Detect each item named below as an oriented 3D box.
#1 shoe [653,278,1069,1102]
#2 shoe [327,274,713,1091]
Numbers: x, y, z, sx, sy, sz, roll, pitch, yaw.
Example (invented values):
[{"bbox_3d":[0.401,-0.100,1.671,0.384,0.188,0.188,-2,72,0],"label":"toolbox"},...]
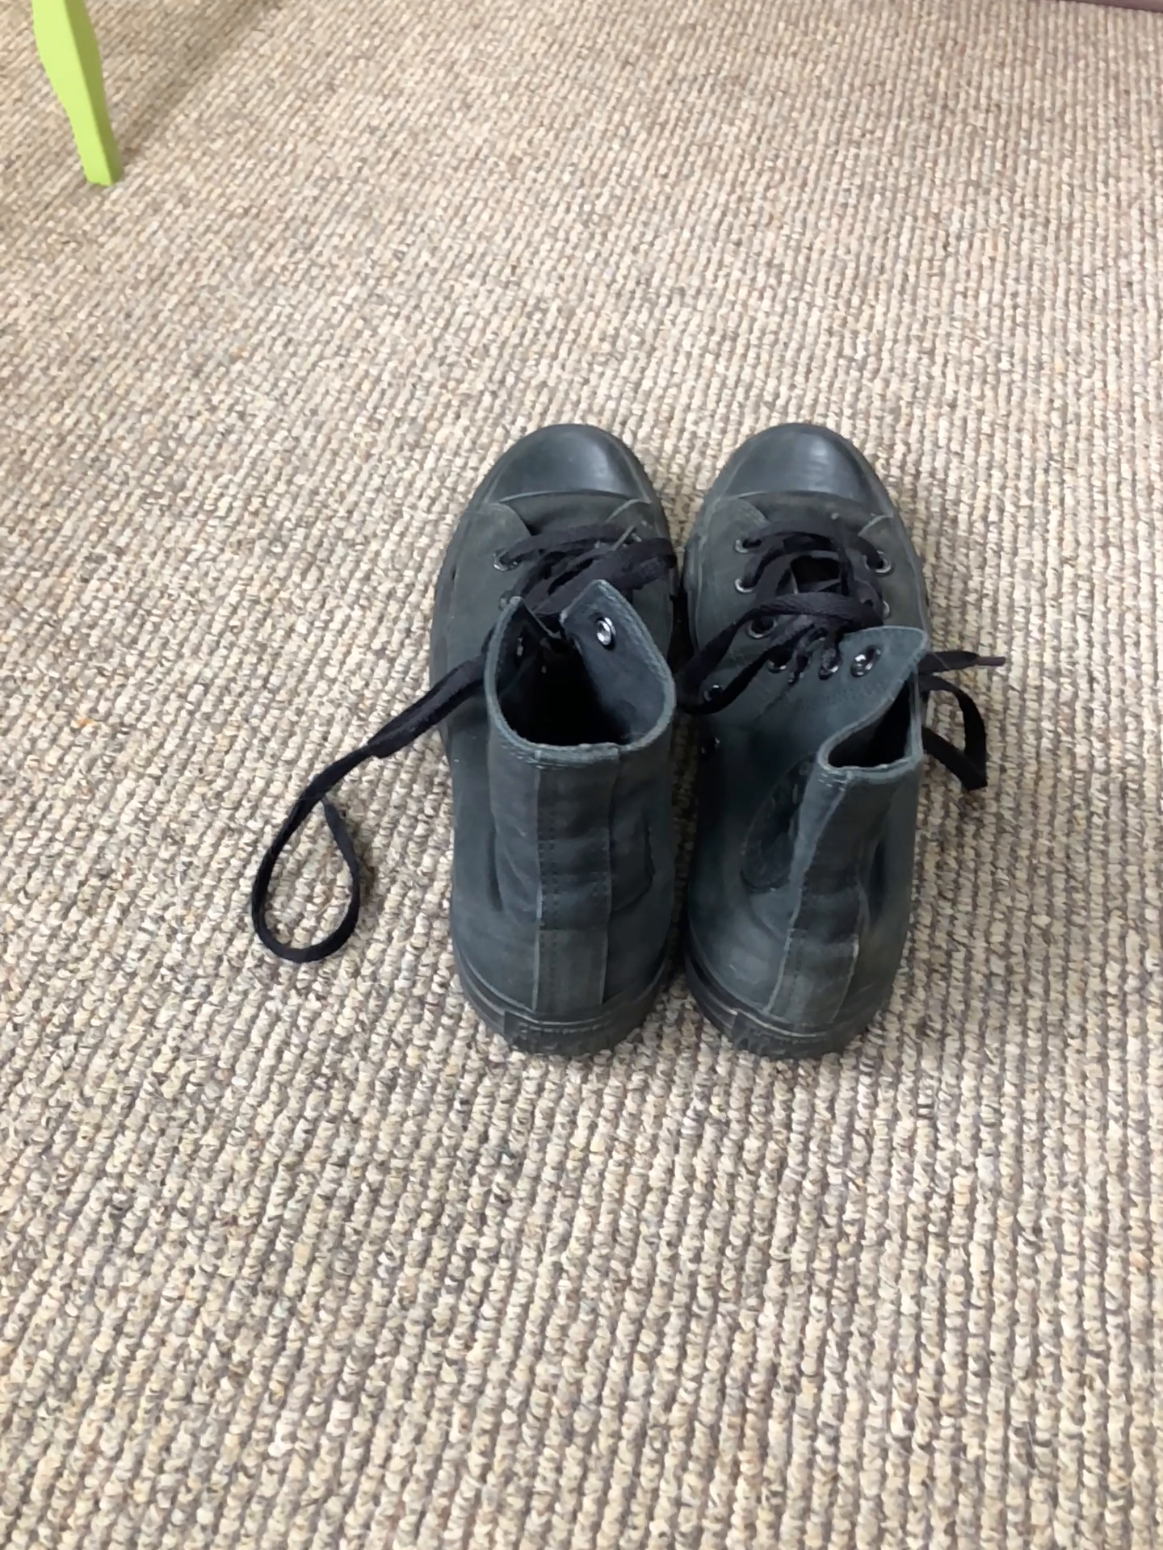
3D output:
[{"bbox_3d":[0.078,-0.036,0.427,0.088,0.126,0.244,4,53,1],"label":"shoe"},{"bbox_3d":[-0.013,-0.036,0.417,0.088,0.126,0.237,2,53,-1],"label":"shoe"}]
